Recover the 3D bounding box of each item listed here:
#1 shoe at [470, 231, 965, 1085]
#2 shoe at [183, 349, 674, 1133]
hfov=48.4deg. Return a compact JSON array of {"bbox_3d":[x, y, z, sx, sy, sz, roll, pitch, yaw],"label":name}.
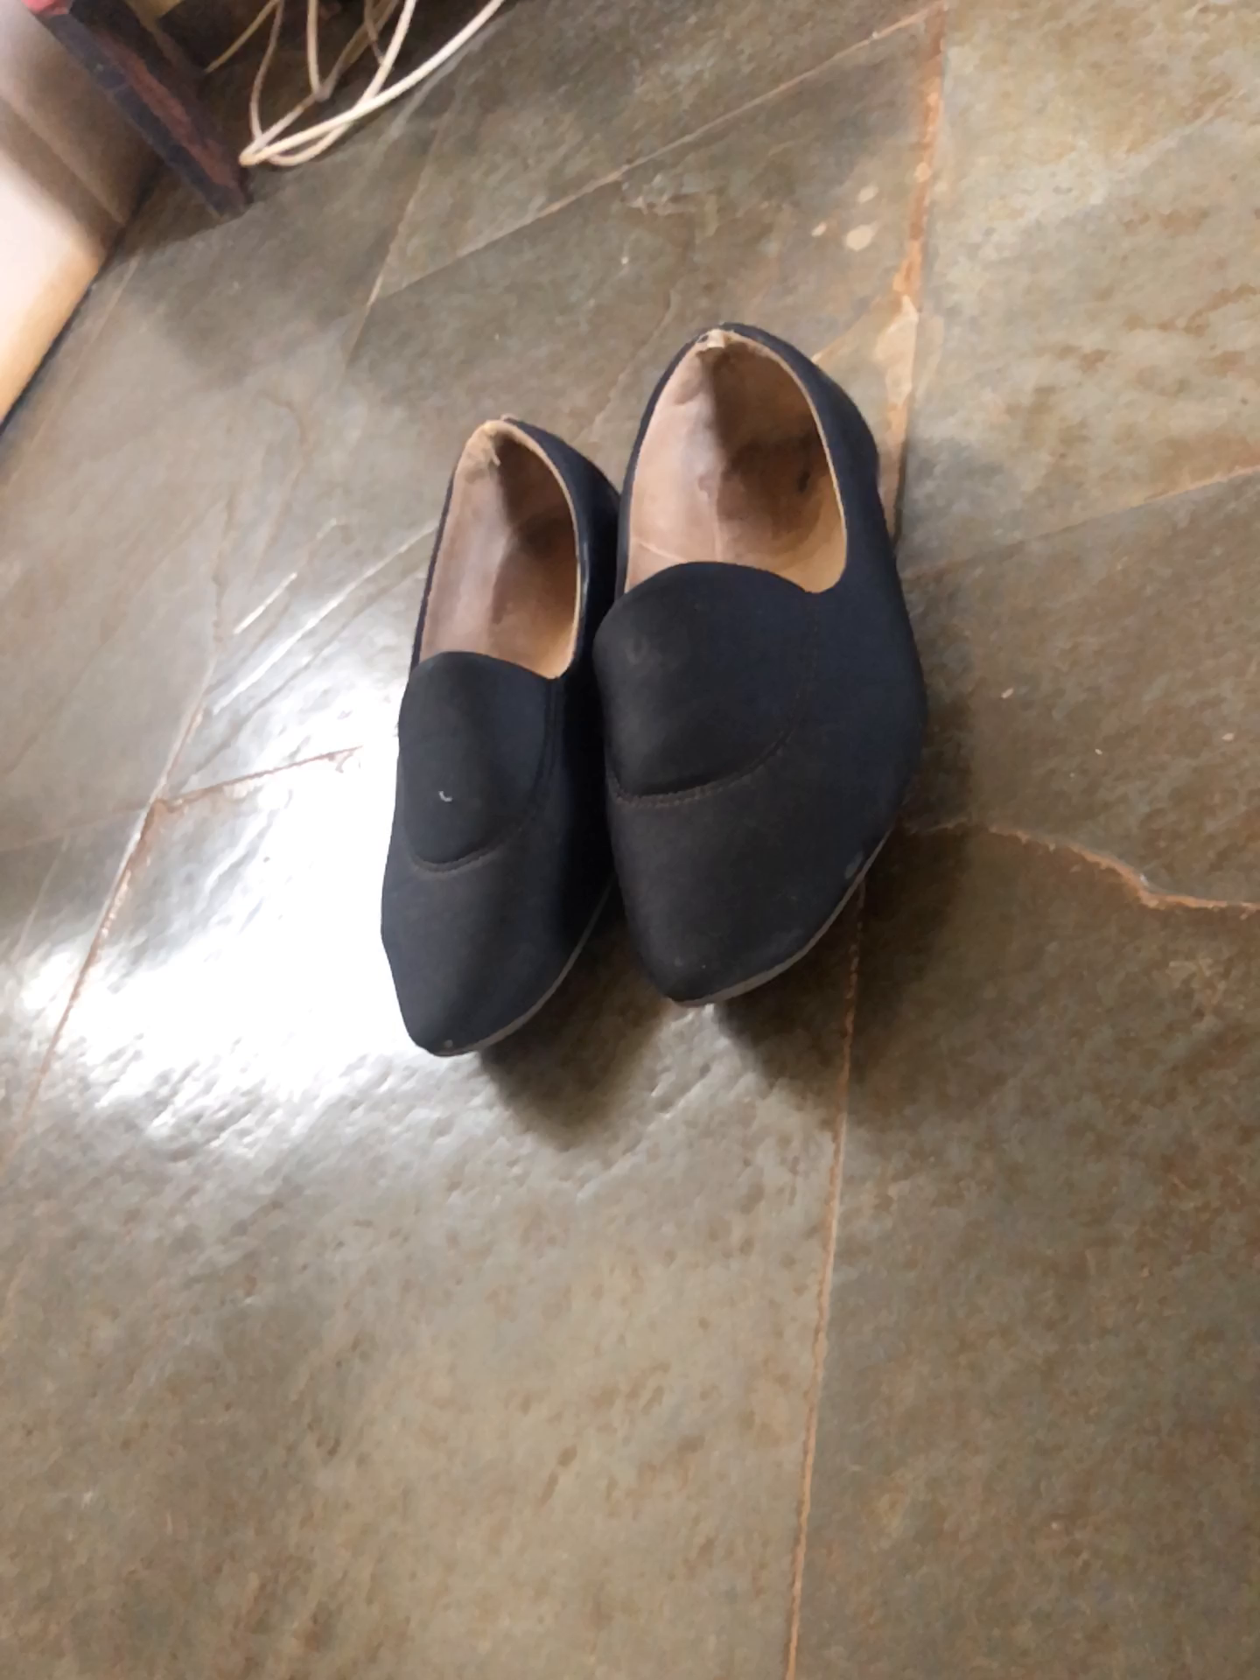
[{"bbox_3d":[0.042,-0.066,0.463,0.110,0.080,0.271,-14,50,32],"label":"shoe"},{"bbox_3d":[-0.060,-0.044,0.510,0.110,0.080,0.272,-18,48,29],"label":"shoe"}]
